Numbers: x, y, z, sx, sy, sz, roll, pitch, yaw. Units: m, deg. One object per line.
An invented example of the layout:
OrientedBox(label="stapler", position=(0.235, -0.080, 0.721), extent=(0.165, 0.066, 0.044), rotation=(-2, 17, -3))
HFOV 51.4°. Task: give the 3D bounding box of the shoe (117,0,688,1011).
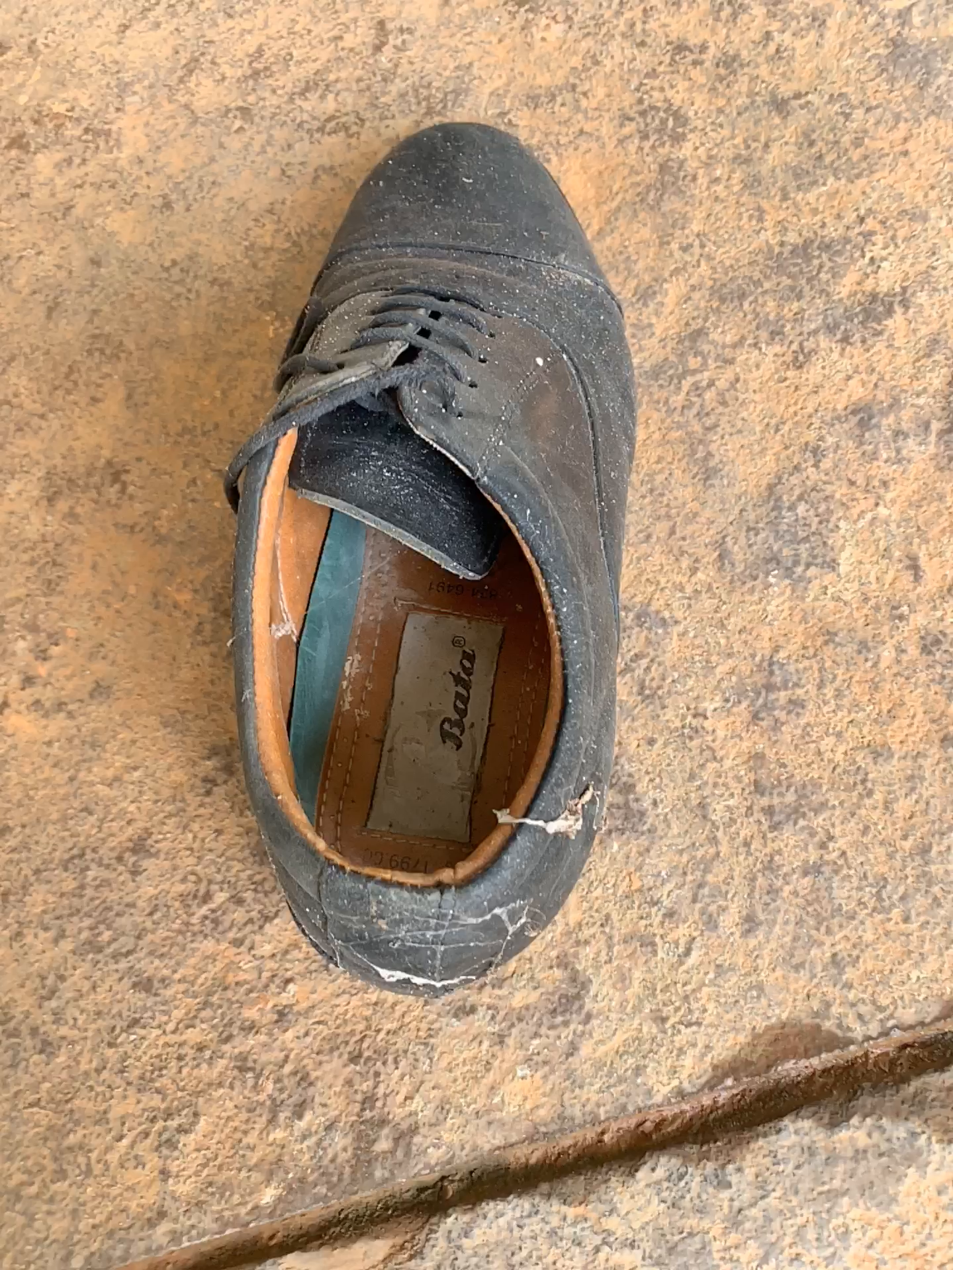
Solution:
OrientedBox(label="shoe", position=(-0.004, -0.048, 0.260), extent=(0.100, 0.090, 0.270), rotation=(0, 69, 7))
